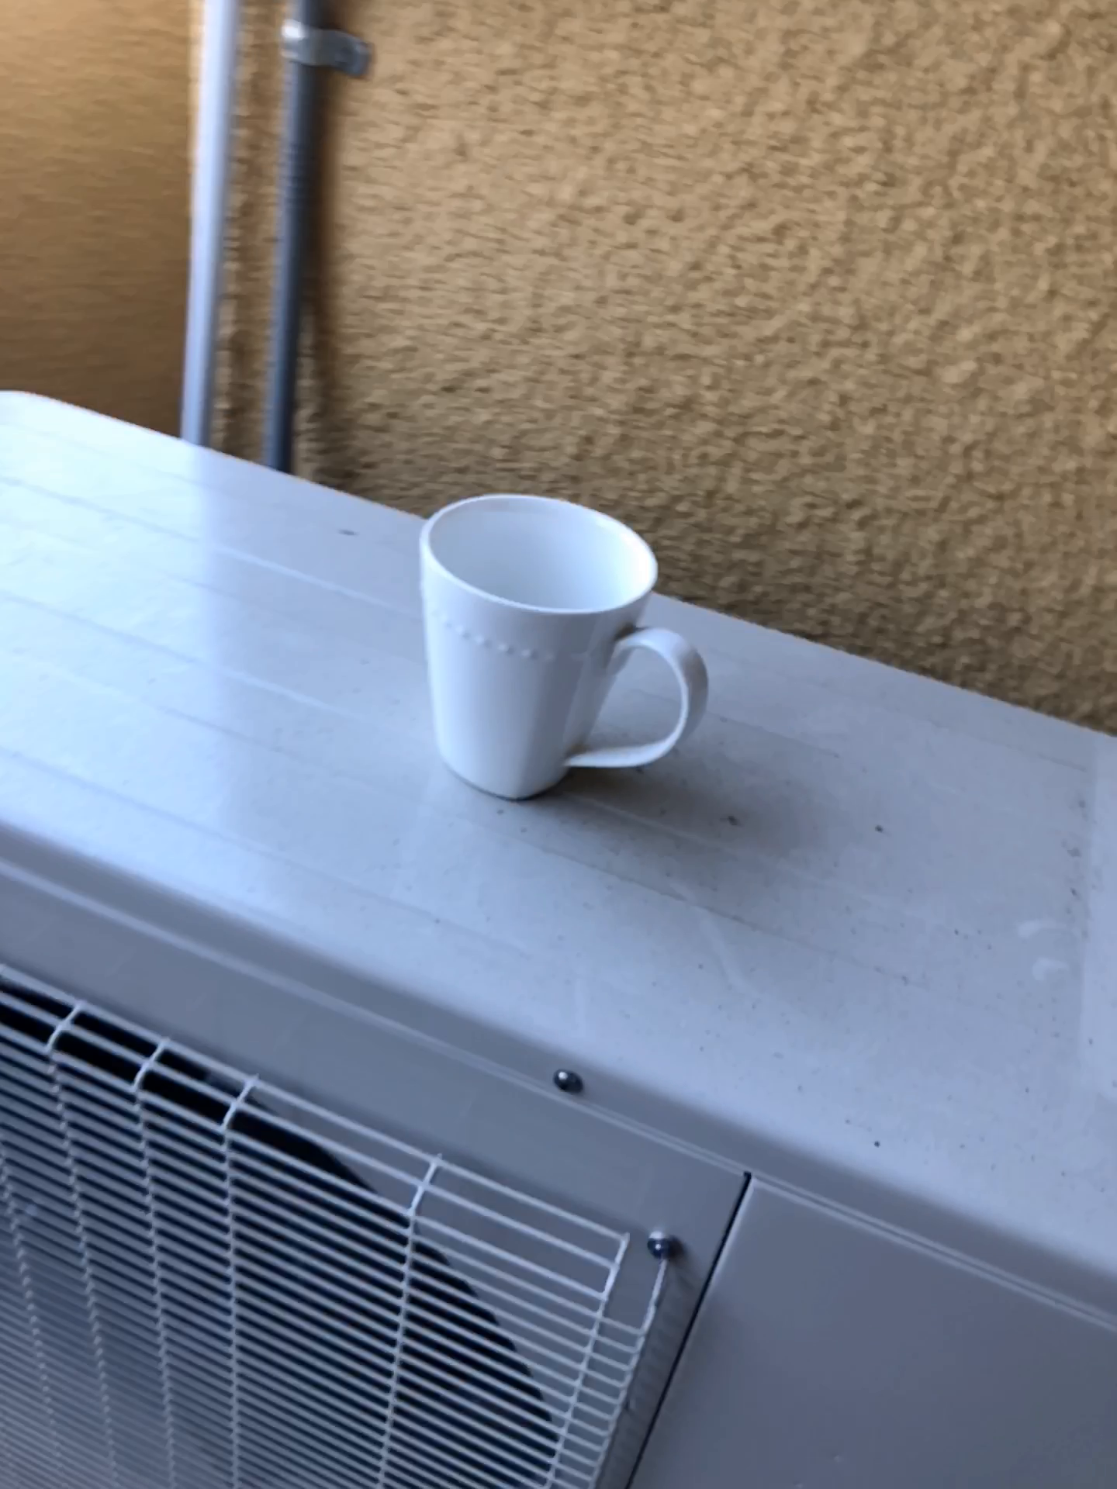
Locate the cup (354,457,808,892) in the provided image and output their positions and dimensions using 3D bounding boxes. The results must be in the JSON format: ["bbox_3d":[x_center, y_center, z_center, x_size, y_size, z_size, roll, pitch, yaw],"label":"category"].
[{"bbox_3d":[0.006,-0.034,0.514,0.140,0.099,0.100,27,38,20],"label":"cup"}]
